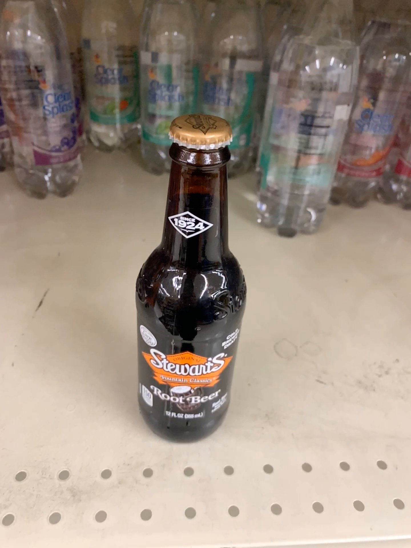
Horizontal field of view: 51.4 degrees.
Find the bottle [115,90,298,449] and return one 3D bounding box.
[{"bbox_3d":[-0.004,0.013,0.249,0.070,0.207,0.060,6,37,1],"label":"bottle"}]
